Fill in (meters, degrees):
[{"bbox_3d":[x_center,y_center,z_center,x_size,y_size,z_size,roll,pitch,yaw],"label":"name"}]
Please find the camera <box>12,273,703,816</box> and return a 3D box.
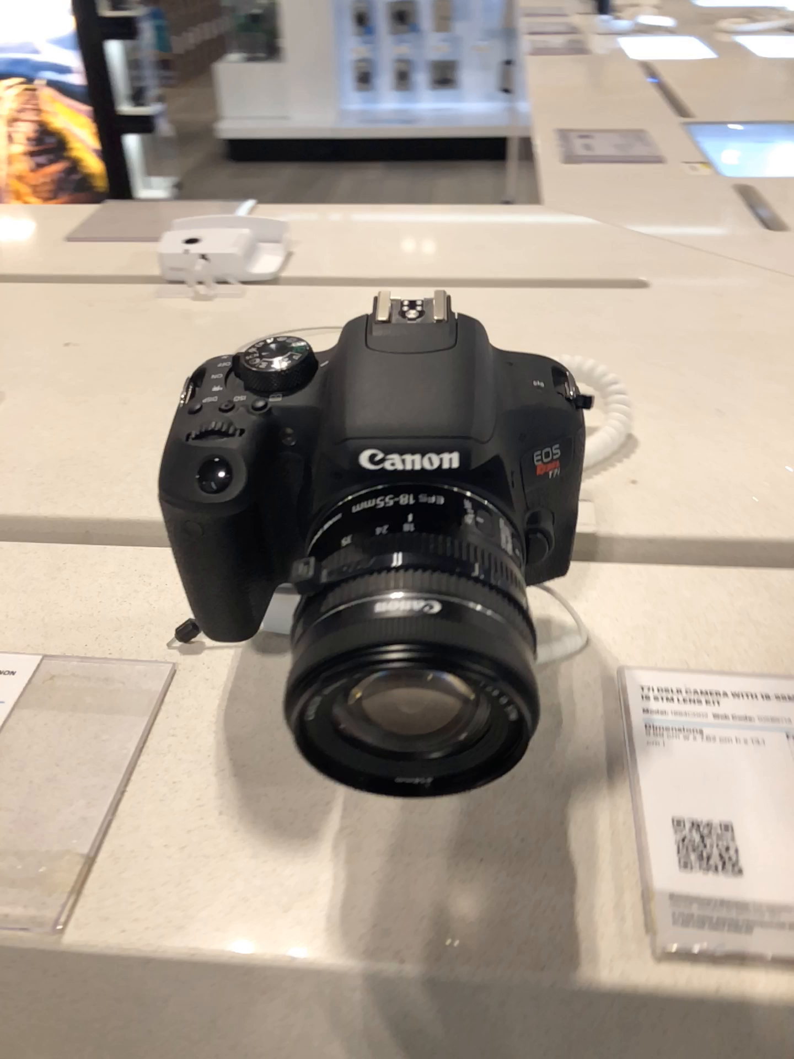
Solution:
[{"bbox_3d":[-0.006,-0.002,0.259,0.140,0.099,0.131,-1,36,2],"label":"camera"}]
